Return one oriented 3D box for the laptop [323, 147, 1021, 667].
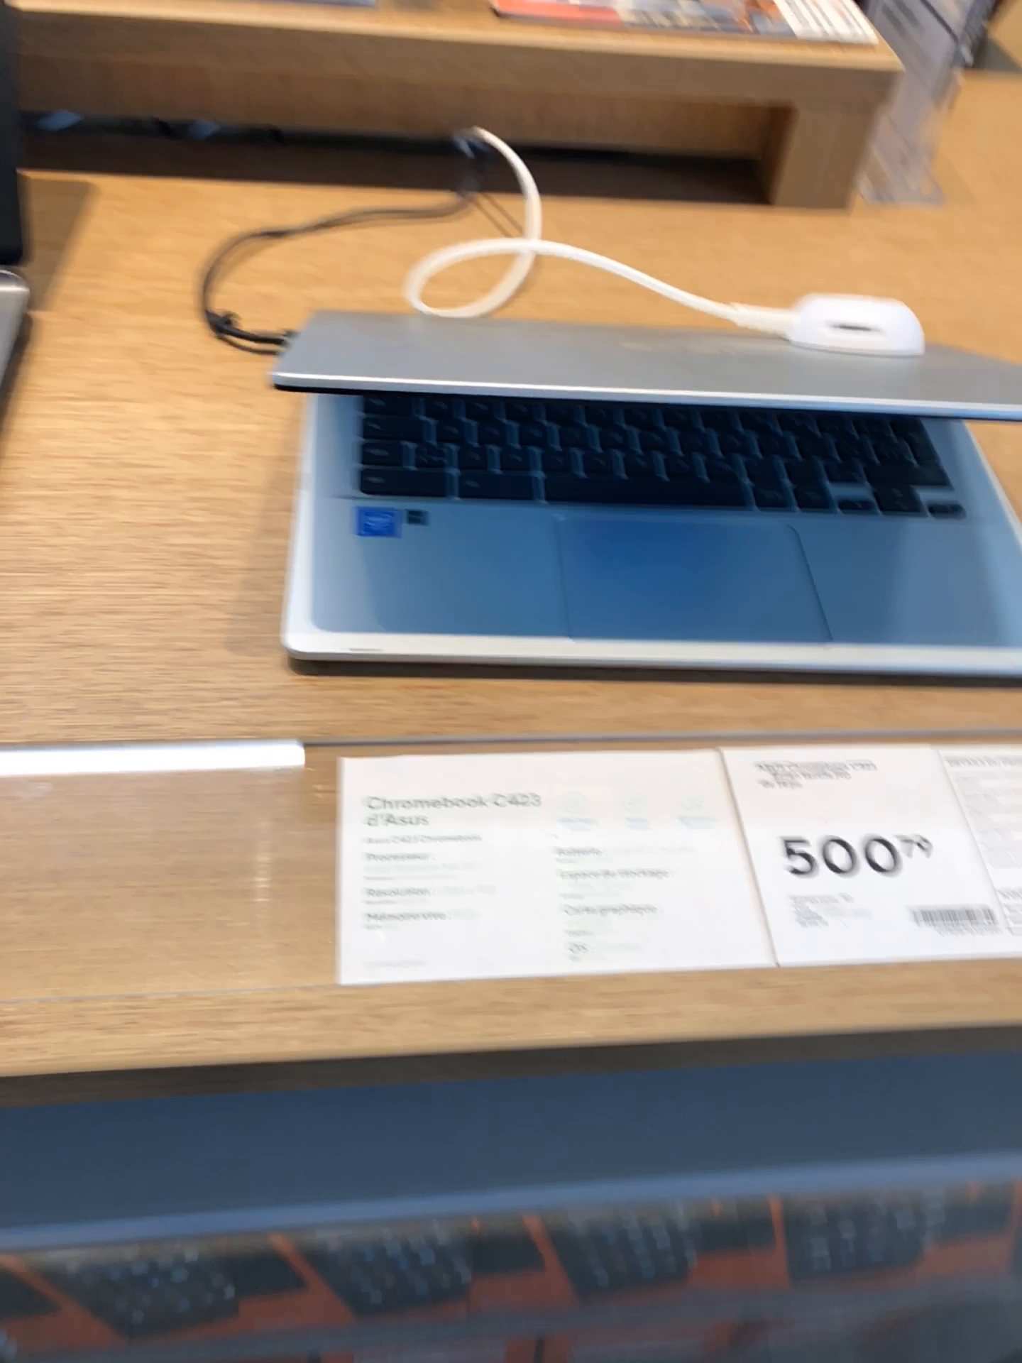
[{"bbox_3d":[0.083,-0.116,0.466,0.304,0.080,0.206,2,51,-8],"label":"laptop"}]
